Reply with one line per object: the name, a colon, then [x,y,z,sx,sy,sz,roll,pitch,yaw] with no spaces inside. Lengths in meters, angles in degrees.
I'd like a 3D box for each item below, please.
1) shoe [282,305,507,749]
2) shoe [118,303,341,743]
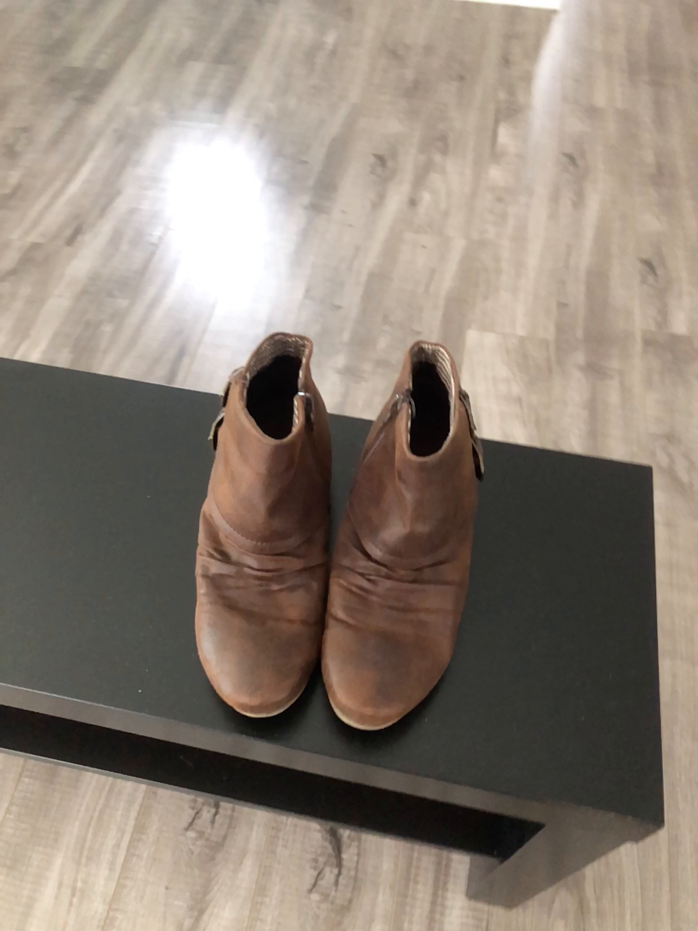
shoe: [0.034,0.029,0.475,0.090,0.110,0.240,9,54,6]
shoe: [-0.059,0.031,0.486,0.090,0.130,0.240,3,54,1]
